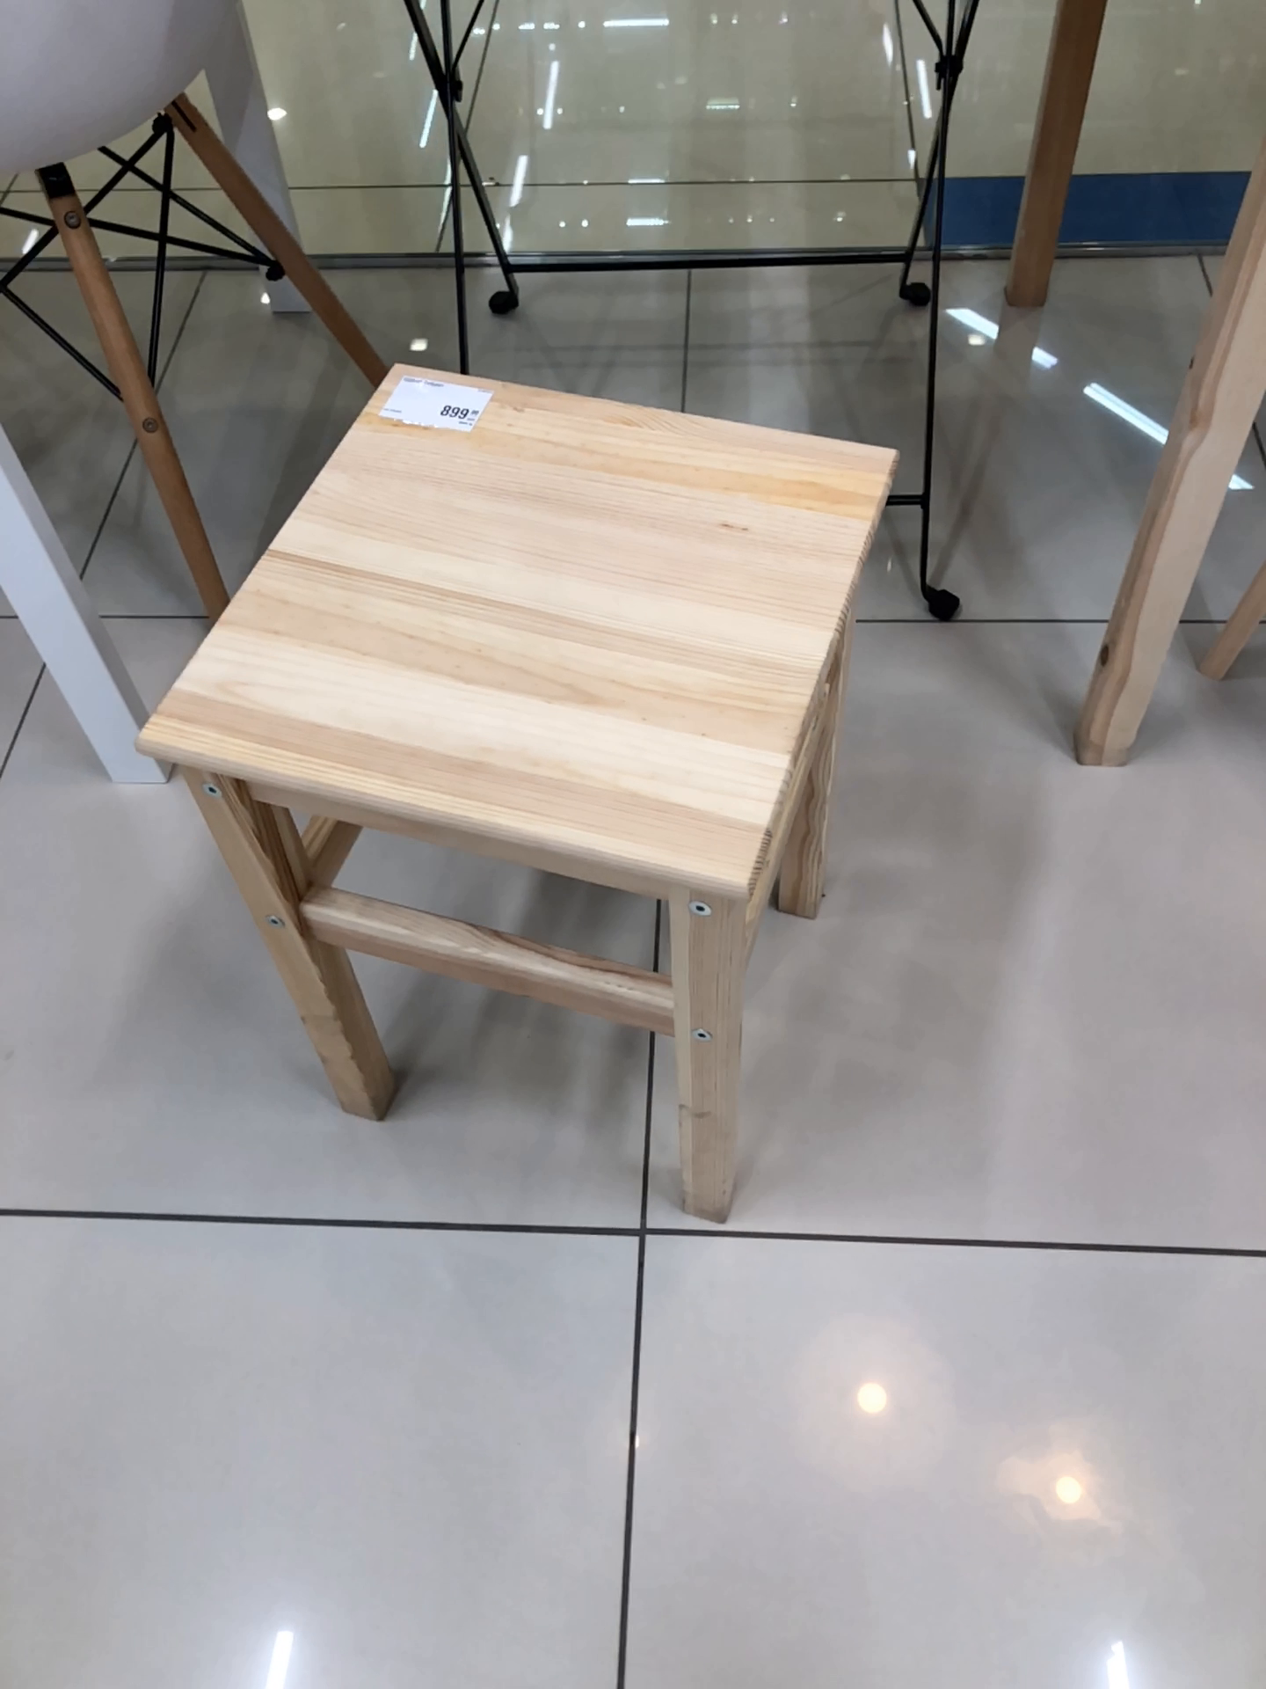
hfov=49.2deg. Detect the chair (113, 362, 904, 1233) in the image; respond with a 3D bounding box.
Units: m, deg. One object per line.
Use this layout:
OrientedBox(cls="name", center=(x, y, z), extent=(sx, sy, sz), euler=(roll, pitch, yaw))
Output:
OrientedBox(cls="chair", center=(-0.041, -0.018, 0.900), extent=(0.327, 0.408, 0.322), euler=(14, 56, 13))
